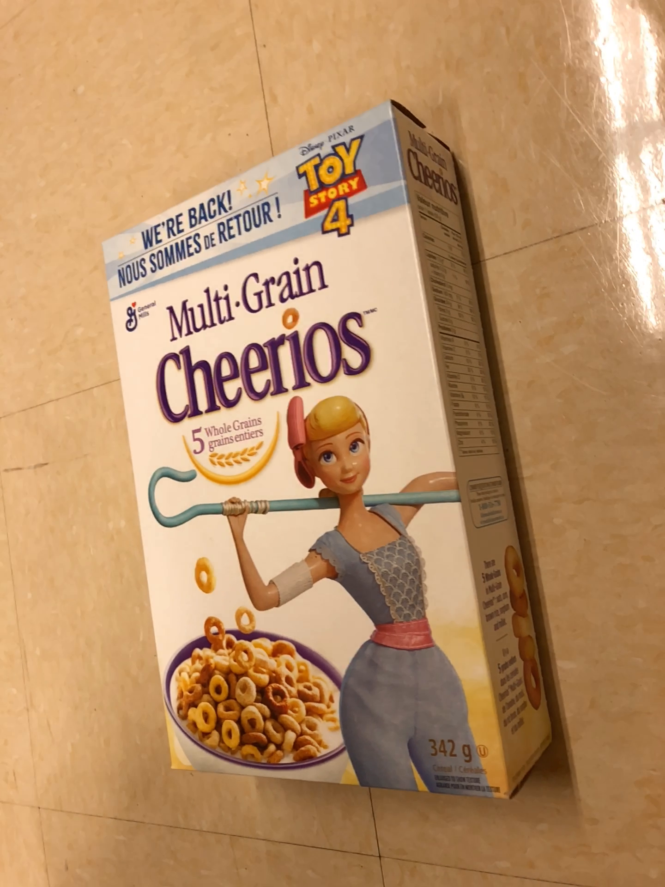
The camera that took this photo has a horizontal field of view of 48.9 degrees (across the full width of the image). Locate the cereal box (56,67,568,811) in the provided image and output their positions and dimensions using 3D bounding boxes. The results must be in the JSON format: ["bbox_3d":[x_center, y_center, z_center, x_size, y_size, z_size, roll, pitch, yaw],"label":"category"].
[{"bbox_3d":[-0.024,0.010,0.366,0.211,0.070,0.290,-13,84,33],"label":"cereal box"}]
